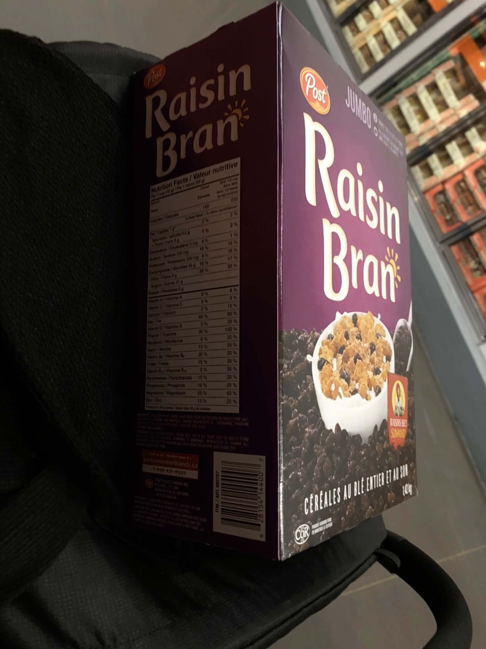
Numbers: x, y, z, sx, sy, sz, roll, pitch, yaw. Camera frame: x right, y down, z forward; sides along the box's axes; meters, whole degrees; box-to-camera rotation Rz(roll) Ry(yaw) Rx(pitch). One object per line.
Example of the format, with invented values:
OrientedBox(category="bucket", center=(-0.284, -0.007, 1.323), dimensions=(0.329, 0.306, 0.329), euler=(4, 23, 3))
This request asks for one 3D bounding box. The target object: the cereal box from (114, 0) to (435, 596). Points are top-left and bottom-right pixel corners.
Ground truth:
OrientedBox(category="cereal box", center=(0.039, -0.013, 0.368), dimensions=(0.211, 0.109, 0.290), euler=(9, 80, -52))
